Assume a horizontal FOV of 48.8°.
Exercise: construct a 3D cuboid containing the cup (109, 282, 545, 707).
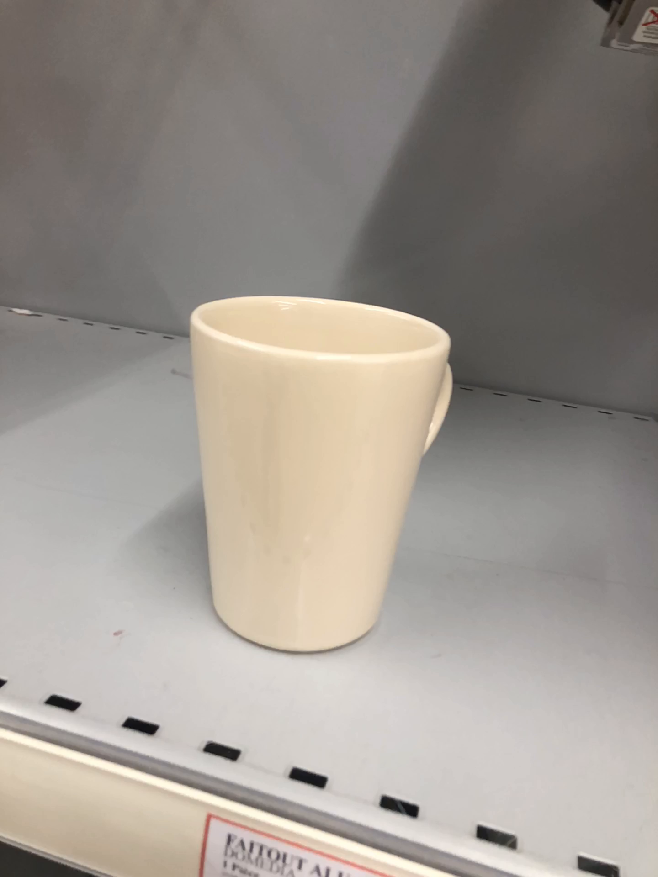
[{"bbox_3d":[-0.001,0.005,0.255,0.120,0.099,0.082,-14,29,-41],"label":"cup"}]
